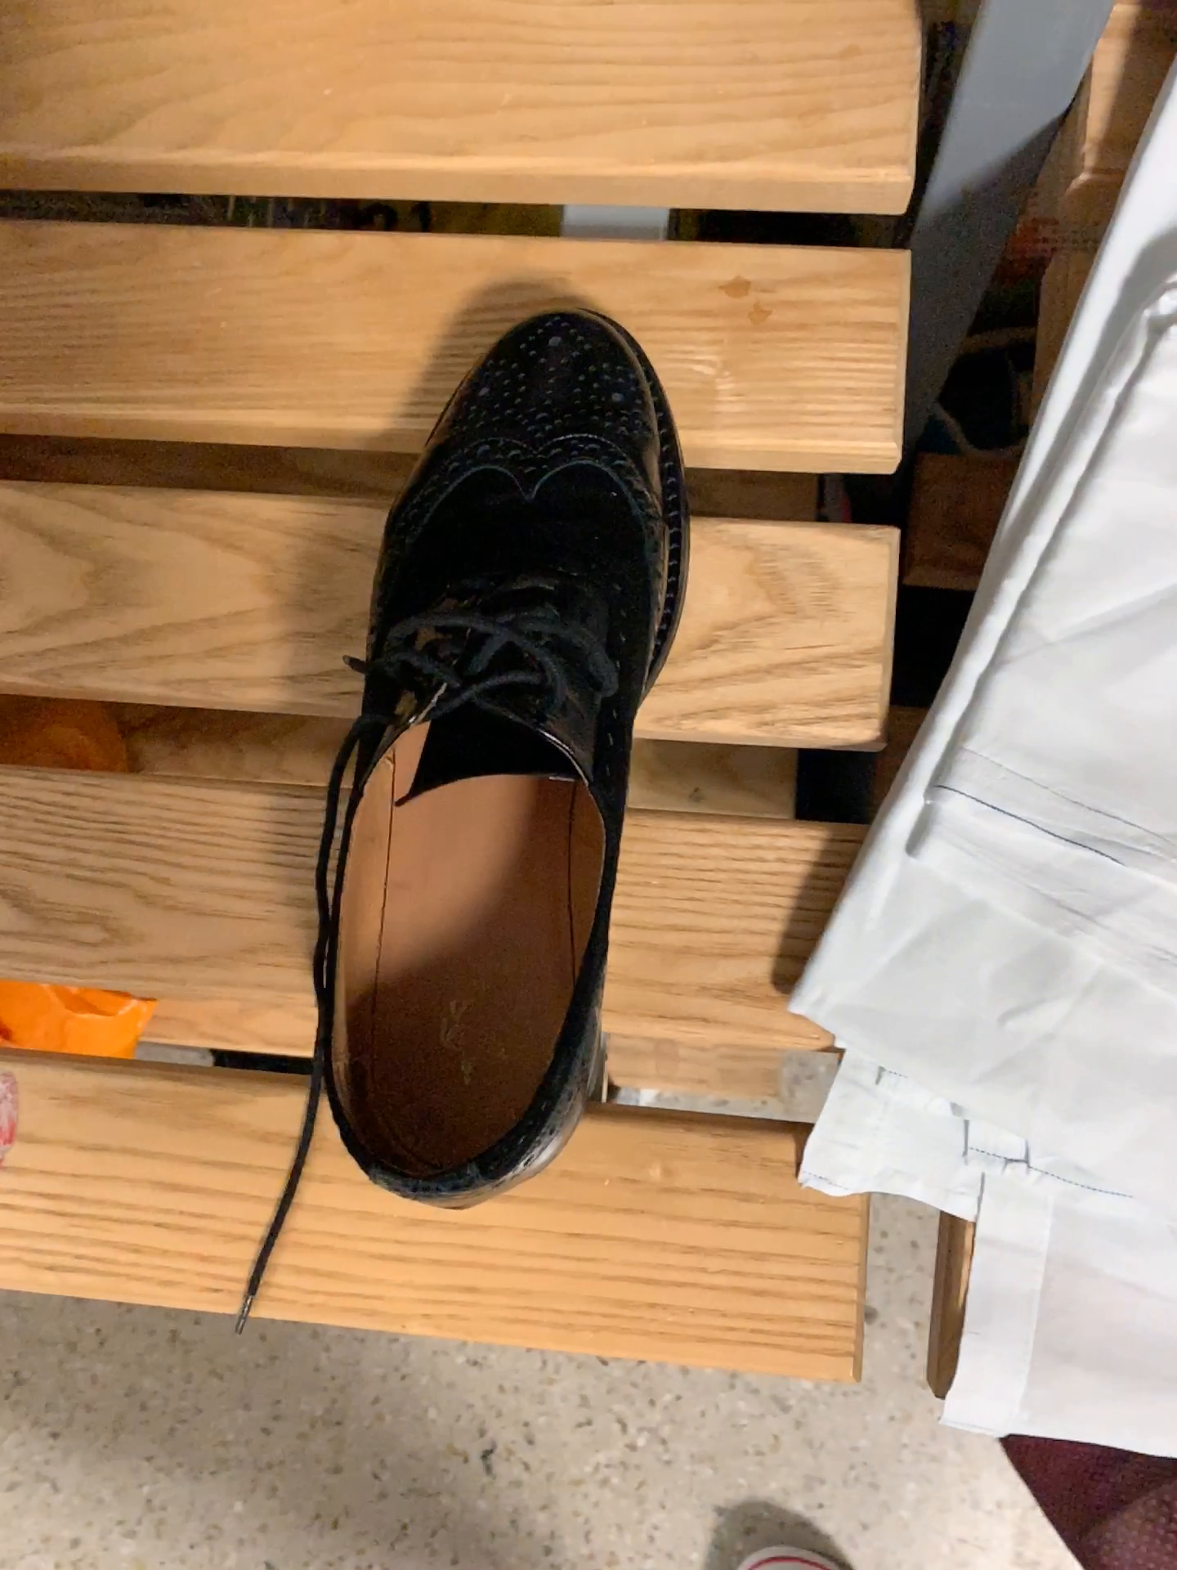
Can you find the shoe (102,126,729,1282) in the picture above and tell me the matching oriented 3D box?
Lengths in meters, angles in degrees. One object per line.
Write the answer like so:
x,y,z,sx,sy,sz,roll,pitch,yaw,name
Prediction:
-0.032,-0.022,0.316,0.099,0.095,0.250,8,83,6,shoe
